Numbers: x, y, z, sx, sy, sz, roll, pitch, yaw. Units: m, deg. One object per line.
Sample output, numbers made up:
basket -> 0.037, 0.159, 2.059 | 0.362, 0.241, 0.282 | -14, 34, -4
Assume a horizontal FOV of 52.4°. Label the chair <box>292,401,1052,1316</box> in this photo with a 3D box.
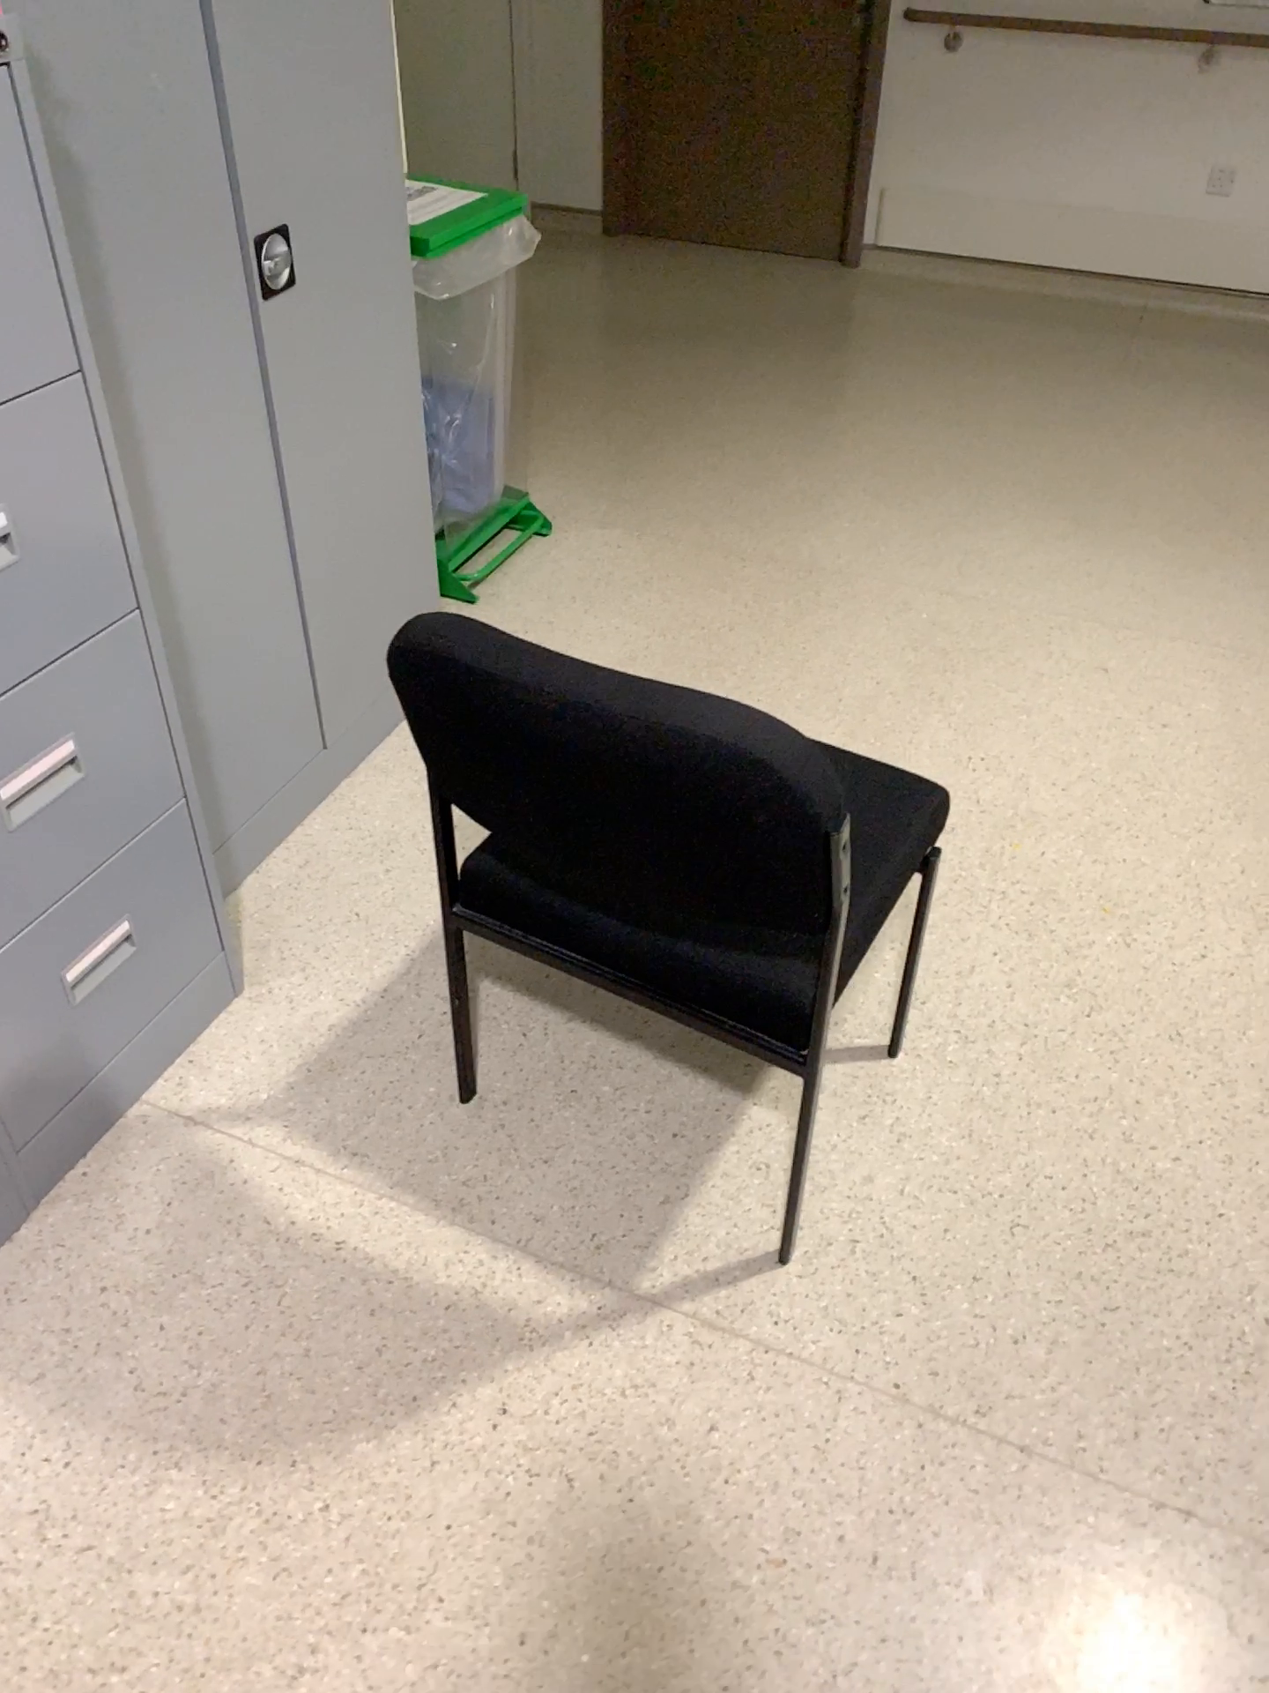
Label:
chair -> 0.059, -0.003, 1.680 | 0.632, 0.851, 0.594 | 20, 43, 22
